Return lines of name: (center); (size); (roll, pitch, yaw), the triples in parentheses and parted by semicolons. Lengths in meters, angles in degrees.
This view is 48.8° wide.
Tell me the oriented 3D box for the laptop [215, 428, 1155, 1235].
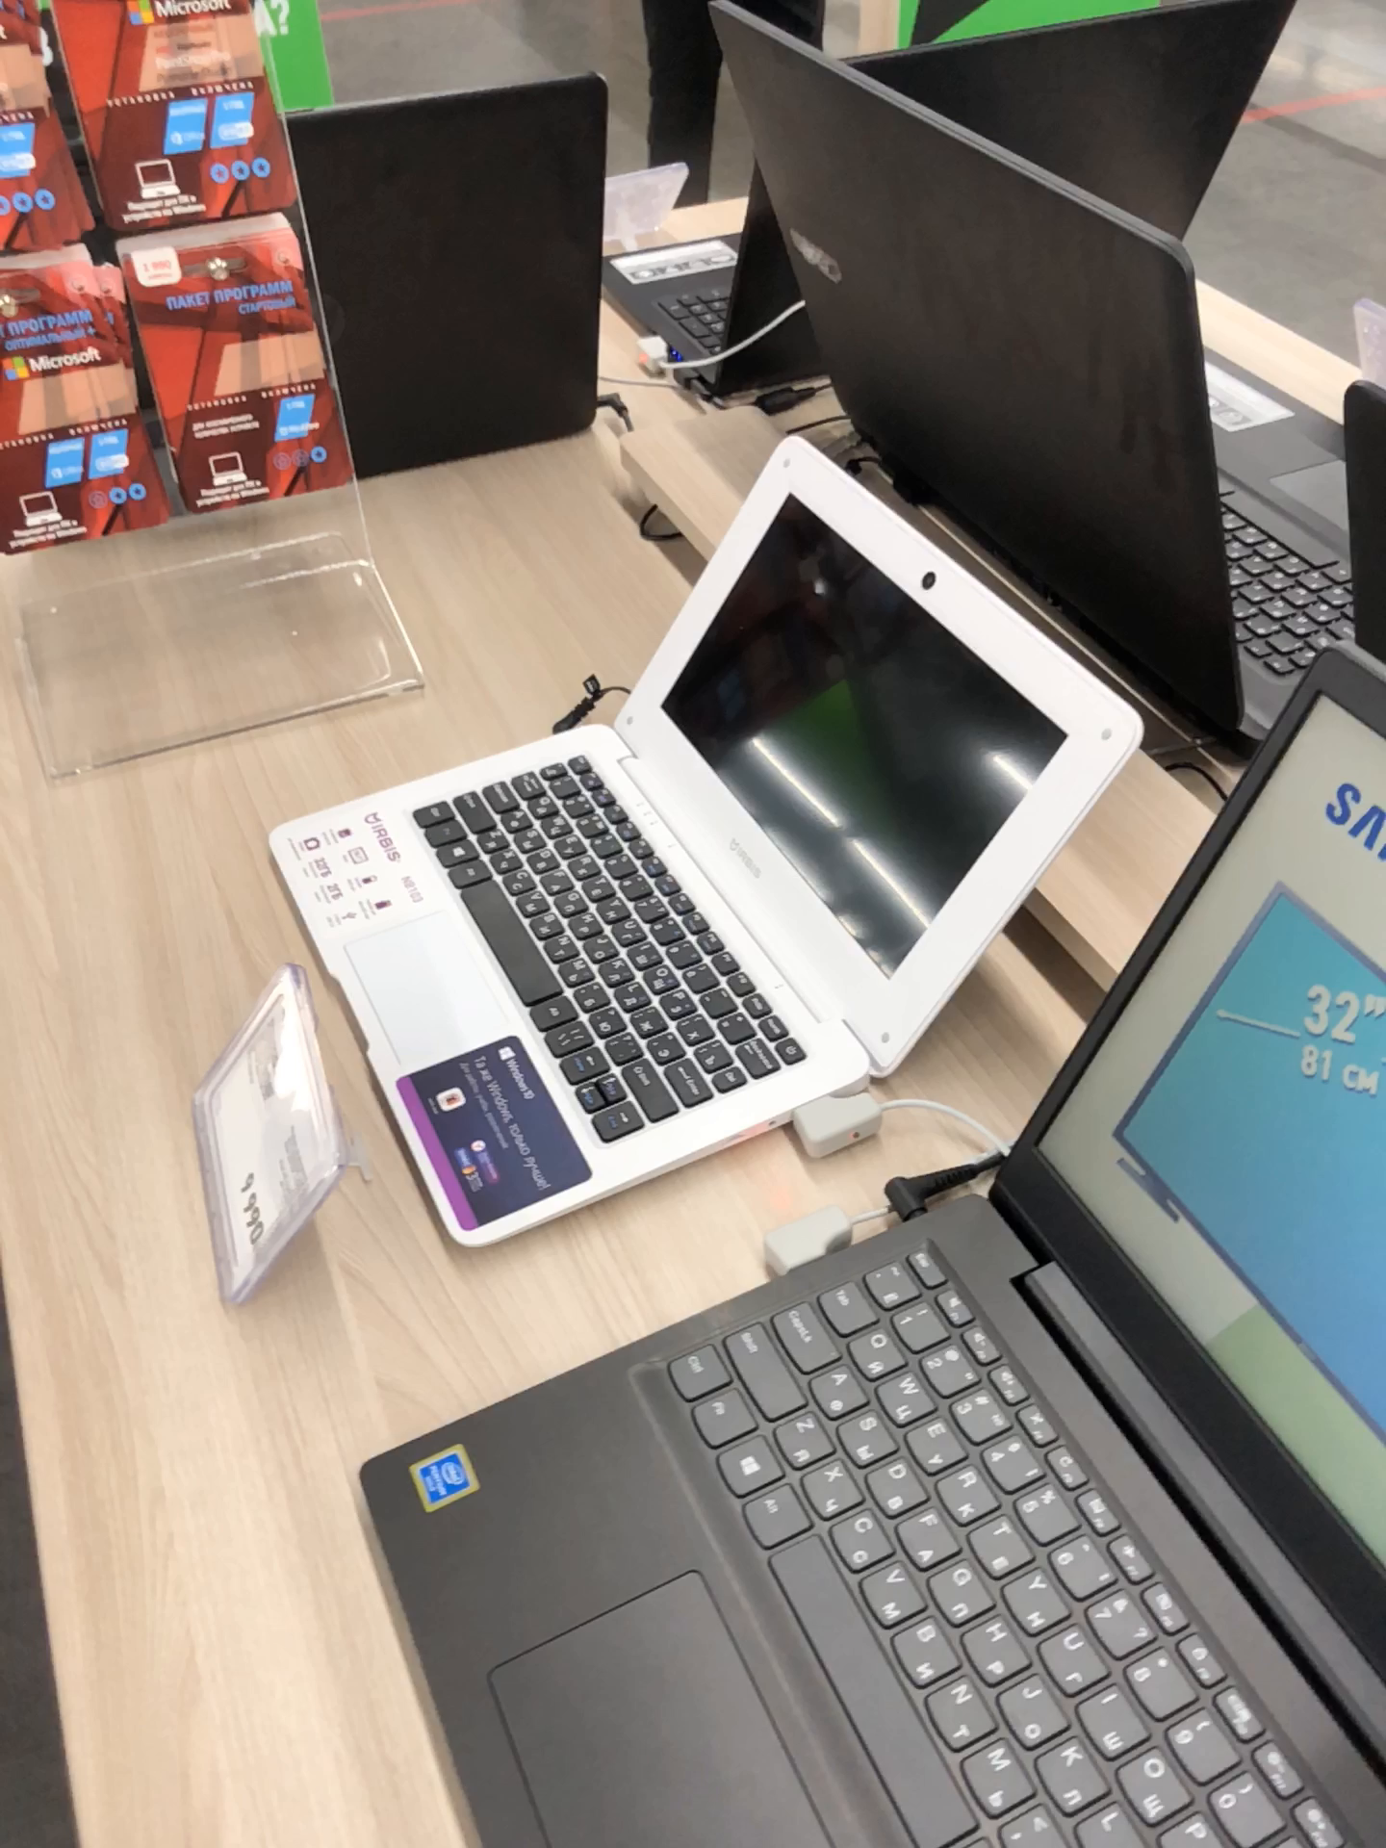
laptop: (-0.019, -0.069, 0.718); (0.317, 0.144, 0.297); (-20, 45, -16)
